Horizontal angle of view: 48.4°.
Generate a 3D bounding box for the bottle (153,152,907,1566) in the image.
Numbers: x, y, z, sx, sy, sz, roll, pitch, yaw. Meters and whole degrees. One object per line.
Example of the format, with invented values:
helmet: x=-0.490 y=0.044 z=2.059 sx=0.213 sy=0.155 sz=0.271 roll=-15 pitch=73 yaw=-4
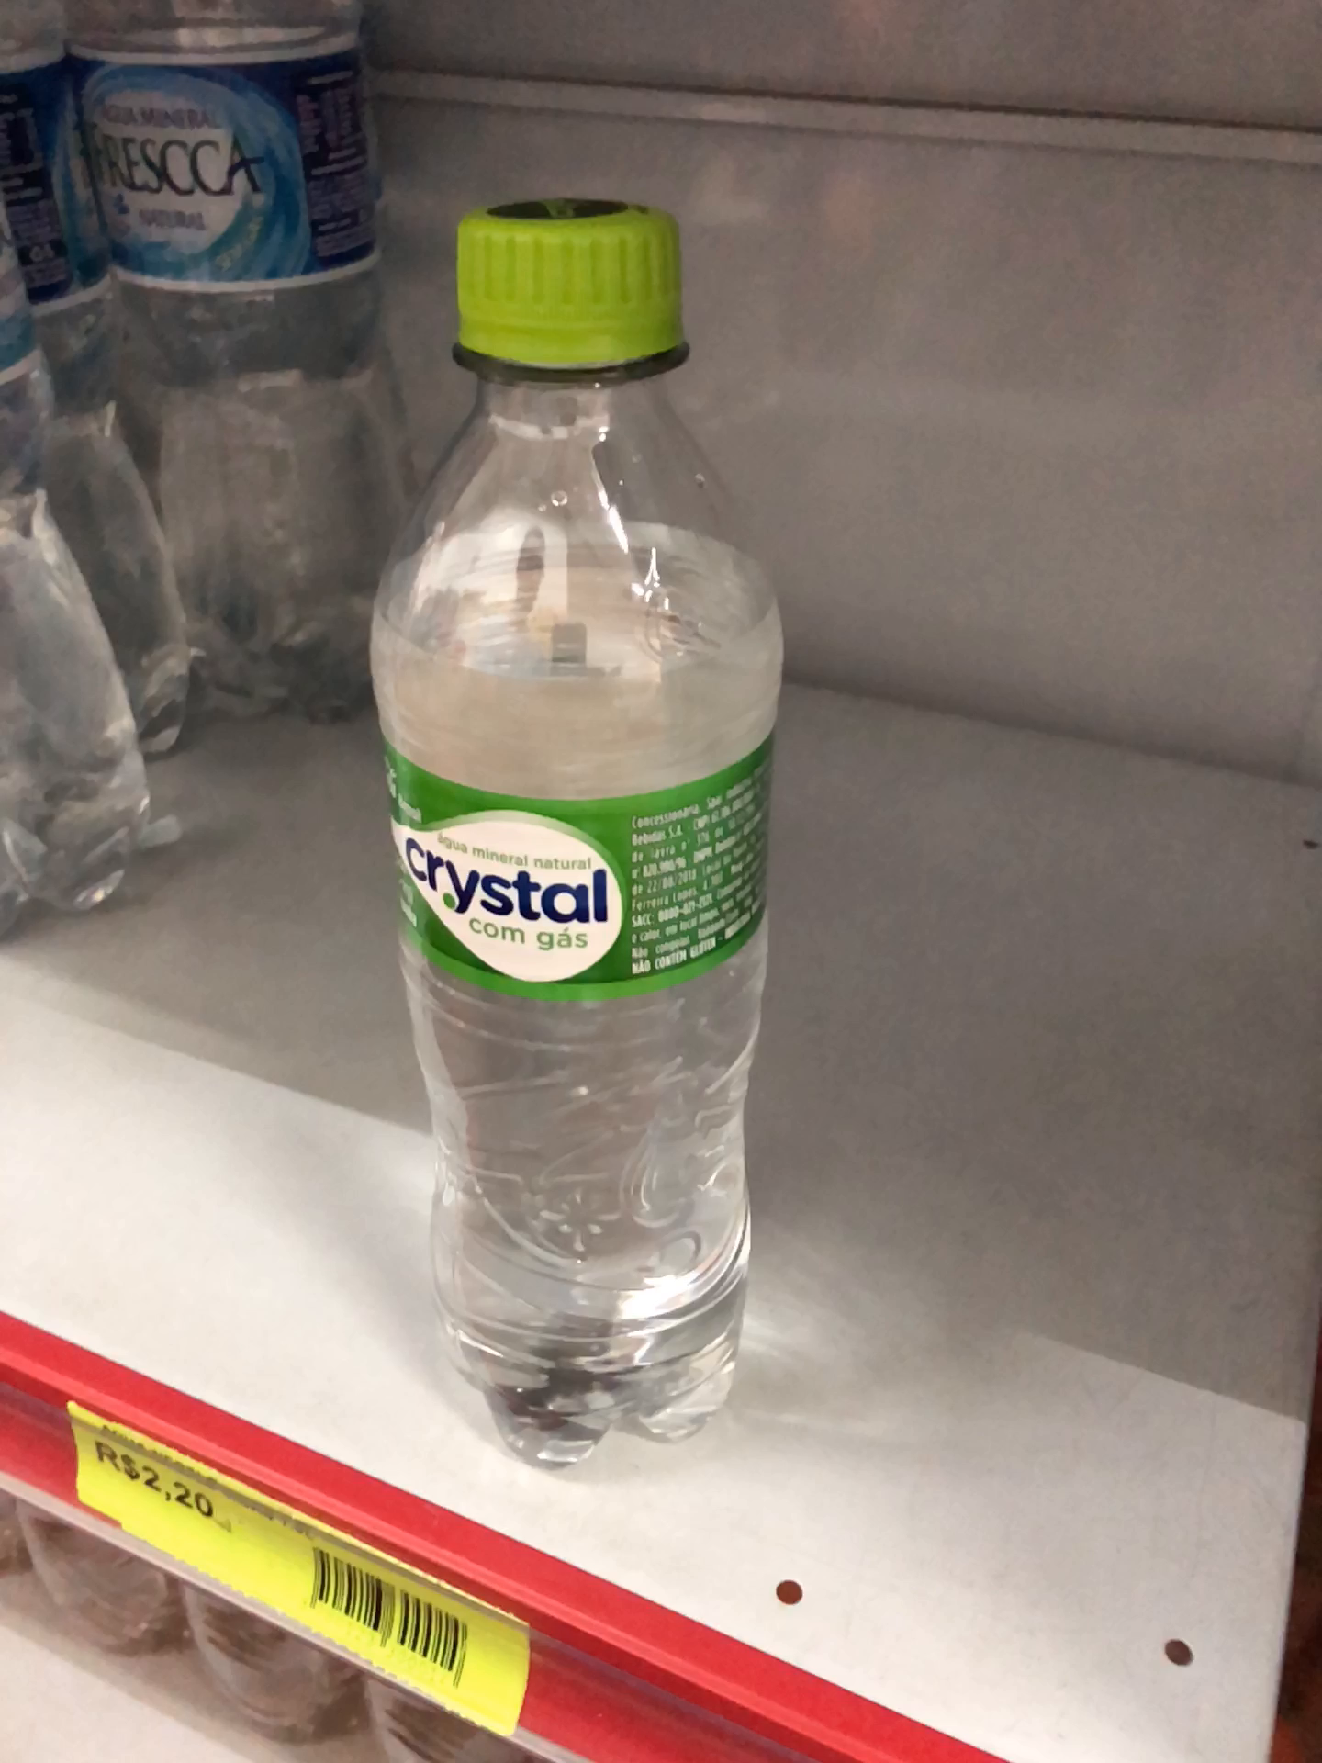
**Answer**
bottle: x=-0.014 y=0.009 z=0.240 sx=0.070 sy=0.218 sz=0.060 roll=17 pitch=38 yaw=23
